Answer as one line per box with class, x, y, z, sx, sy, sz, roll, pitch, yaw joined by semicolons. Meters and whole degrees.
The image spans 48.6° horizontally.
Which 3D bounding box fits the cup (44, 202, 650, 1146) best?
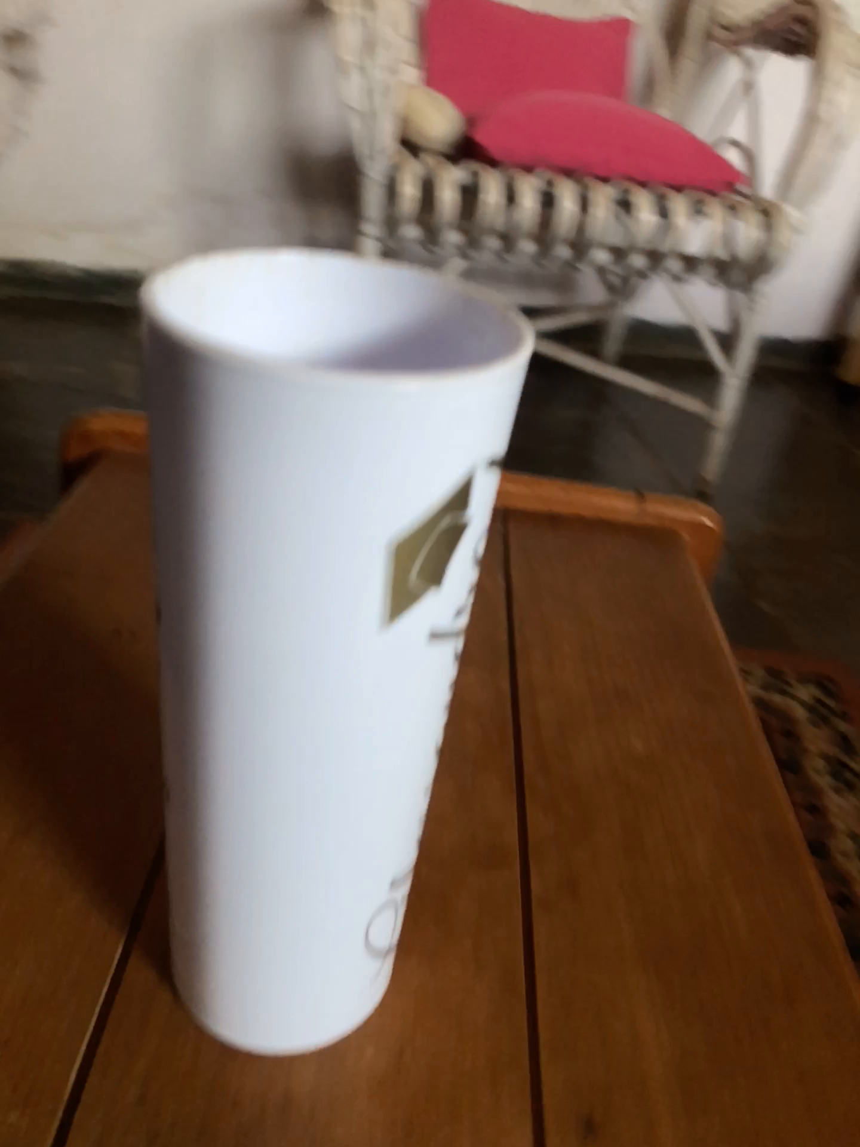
cup;-0.015;0.026;0.179;0.070;0.159;0.071;7;32;-4
